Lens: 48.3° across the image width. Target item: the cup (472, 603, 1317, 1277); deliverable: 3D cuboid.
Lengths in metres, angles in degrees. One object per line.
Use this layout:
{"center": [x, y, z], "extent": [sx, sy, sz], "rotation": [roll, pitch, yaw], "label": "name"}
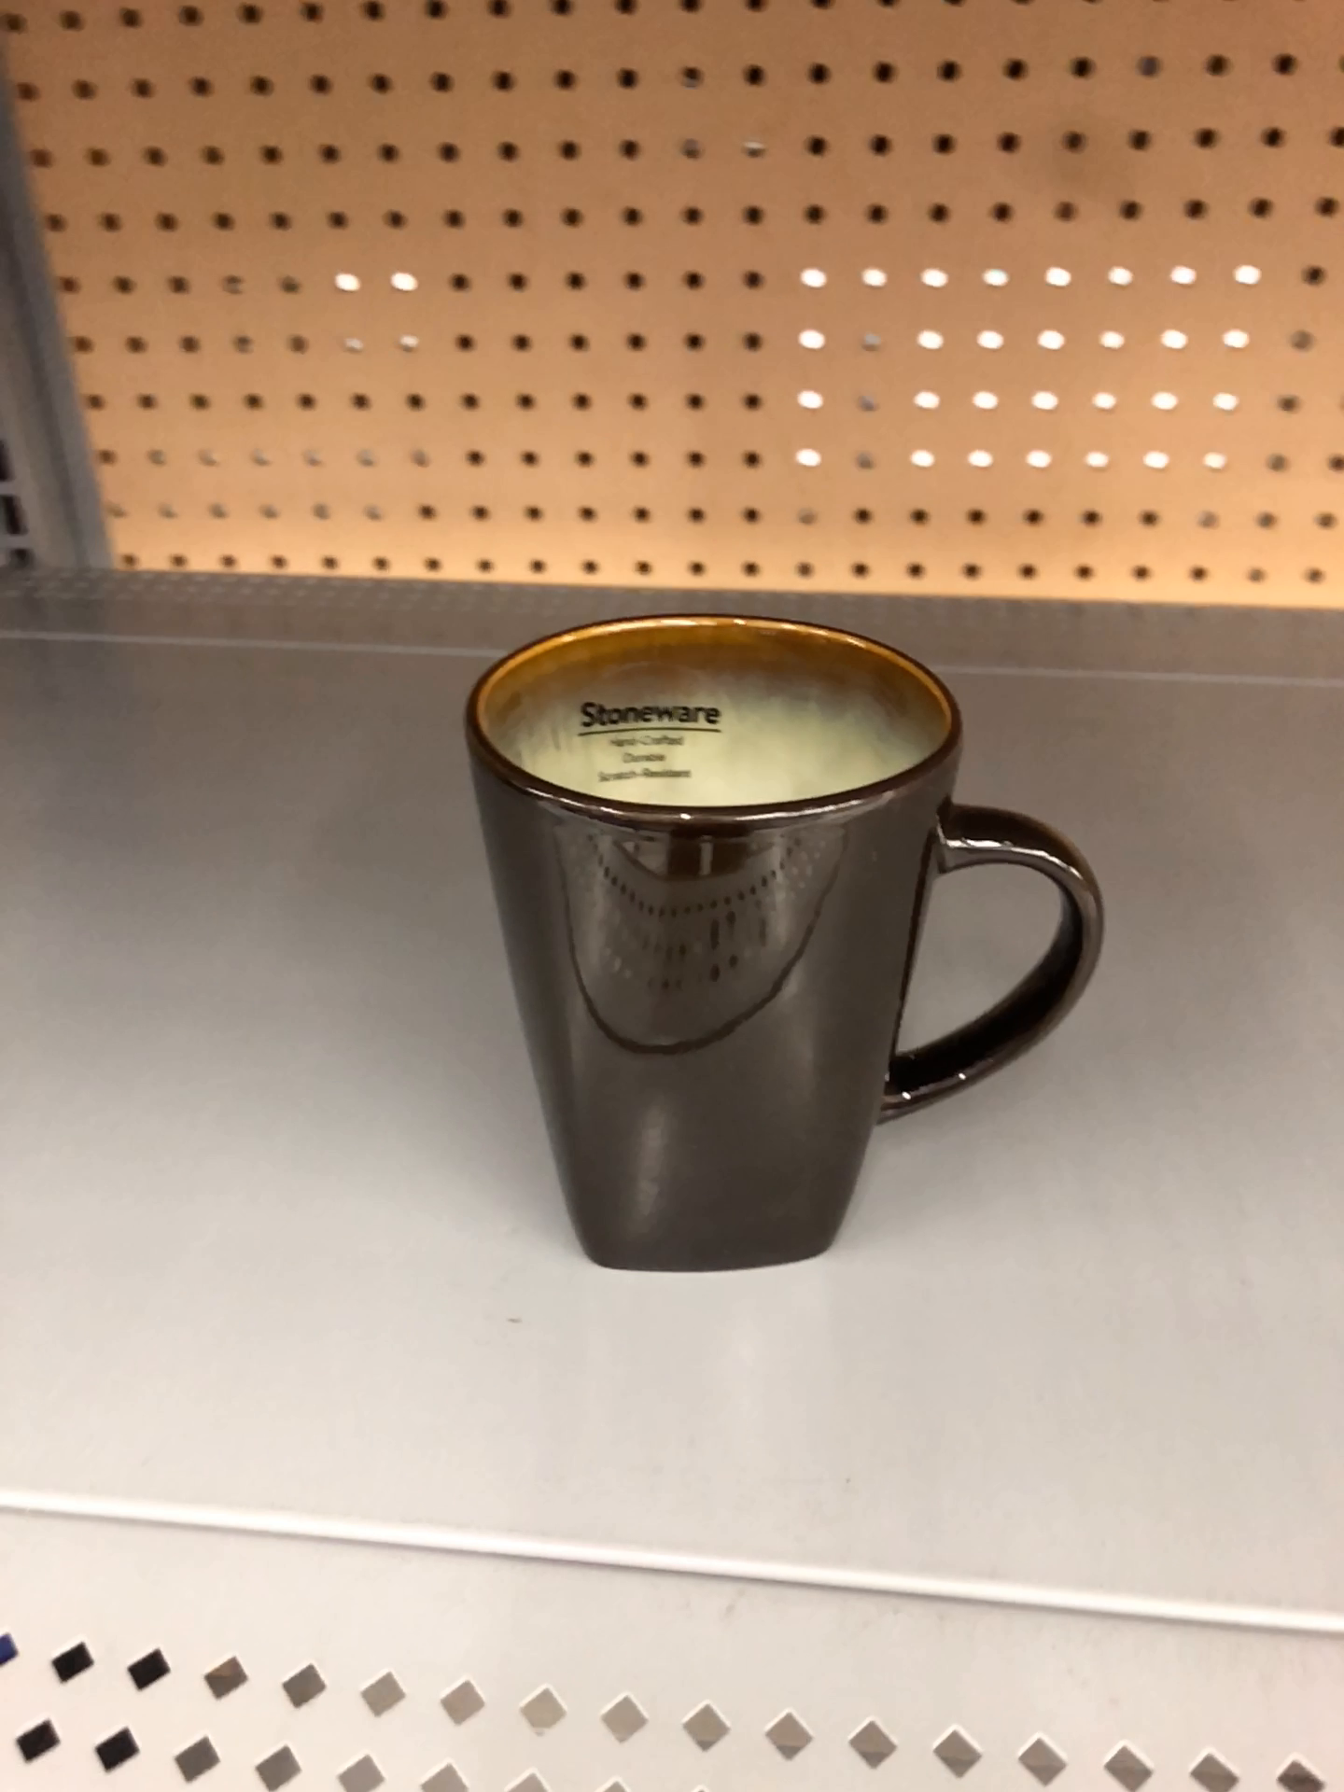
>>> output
{"center": [0.033, 0.005, 0.304], "extent": [0.135, 0.099, 0.095], "rotation": [0, 30, -3], "label": "cup"}
